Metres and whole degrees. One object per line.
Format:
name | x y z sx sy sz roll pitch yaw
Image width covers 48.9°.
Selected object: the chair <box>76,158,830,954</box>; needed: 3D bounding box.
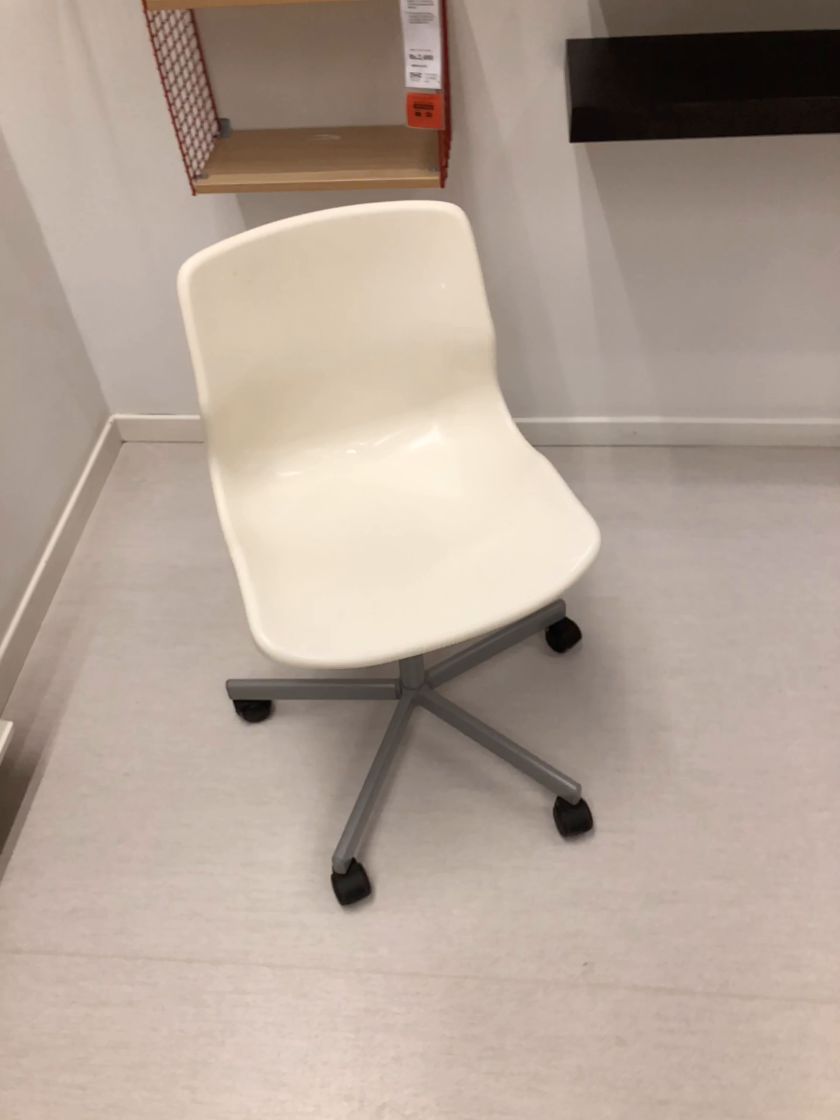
chair | -0.004 -0.009 1.235 0.620 0.686 0.624 -17 48 -11
